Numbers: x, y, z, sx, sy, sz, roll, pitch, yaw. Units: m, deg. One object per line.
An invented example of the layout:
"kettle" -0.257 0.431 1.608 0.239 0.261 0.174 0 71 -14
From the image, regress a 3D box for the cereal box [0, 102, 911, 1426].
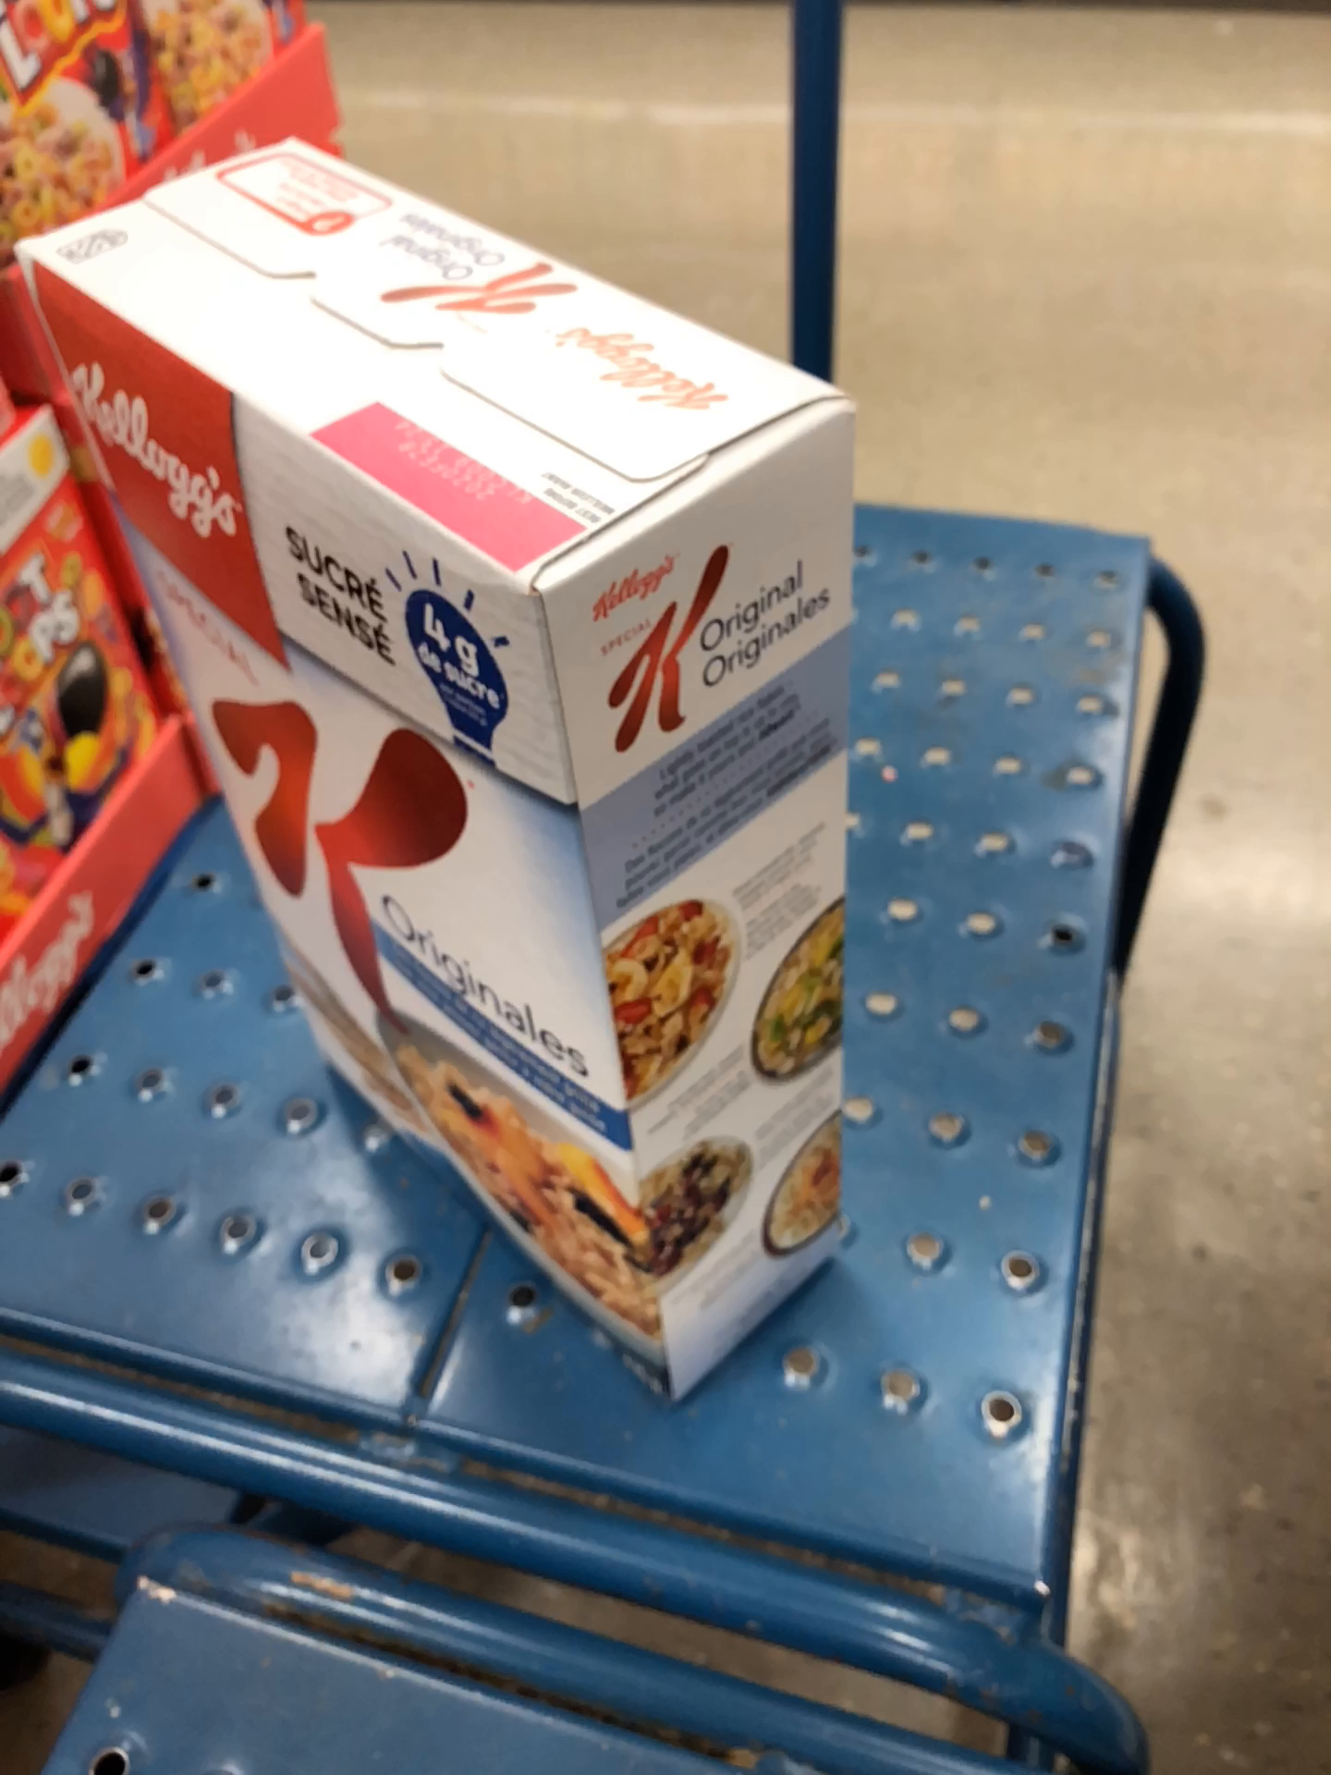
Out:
"cereal box" -0.048 -0.021 0.407 0.080 0.299 0.211 -34 52 -26
